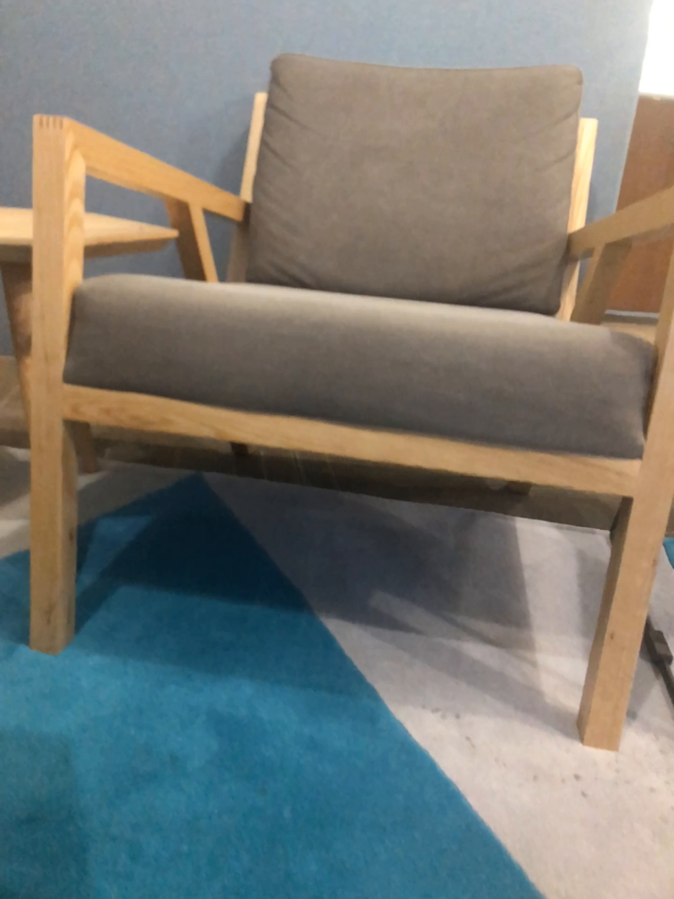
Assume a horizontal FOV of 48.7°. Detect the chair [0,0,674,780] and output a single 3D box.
[{"bbox_3d":[0.072,-0.212,1.039,0.710,0.745,0.846,7,19,7],"label":"chair"}]
